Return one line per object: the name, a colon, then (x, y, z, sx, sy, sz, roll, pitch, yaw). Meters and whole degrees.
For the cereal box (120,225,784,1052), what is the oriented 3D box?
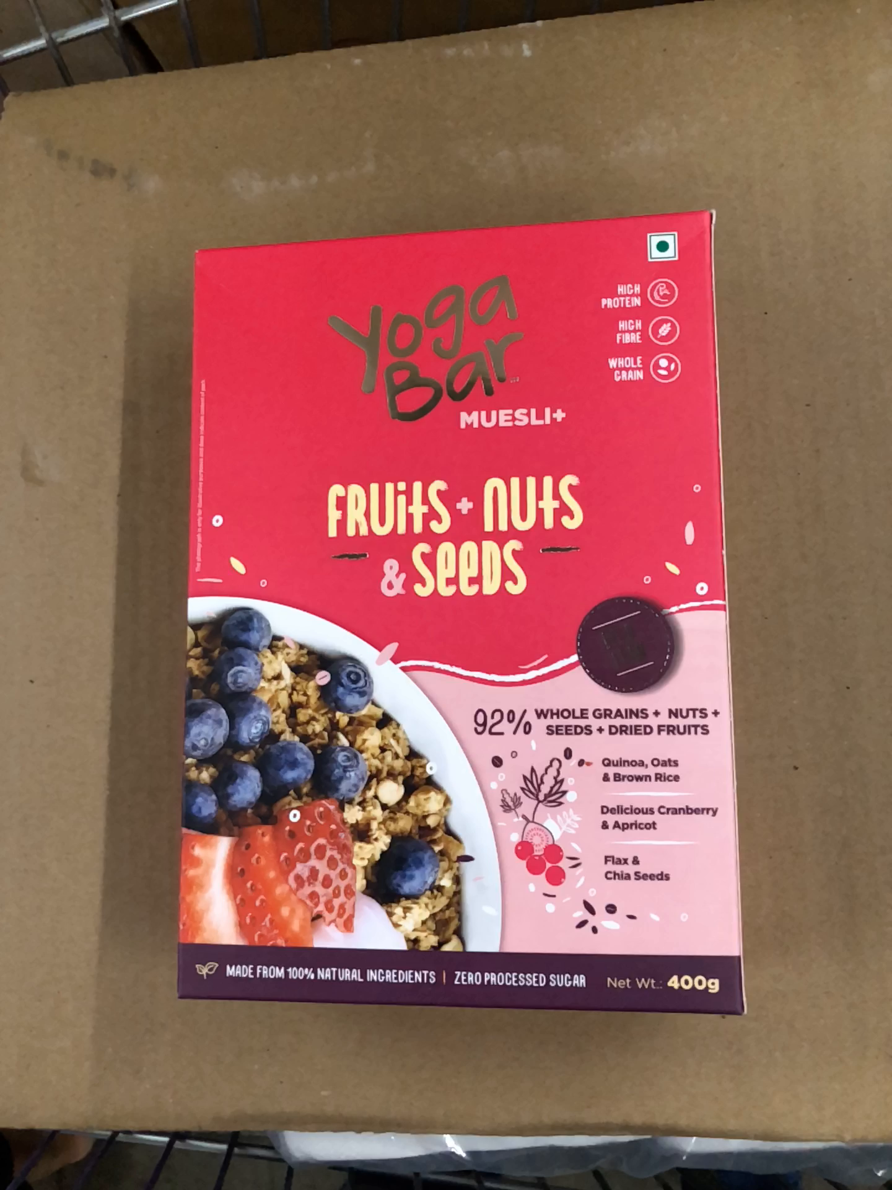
cereal box: (0.001, 0.011, 0.291, 0.170, 0.060, 0.210, -1, 85, 7)
